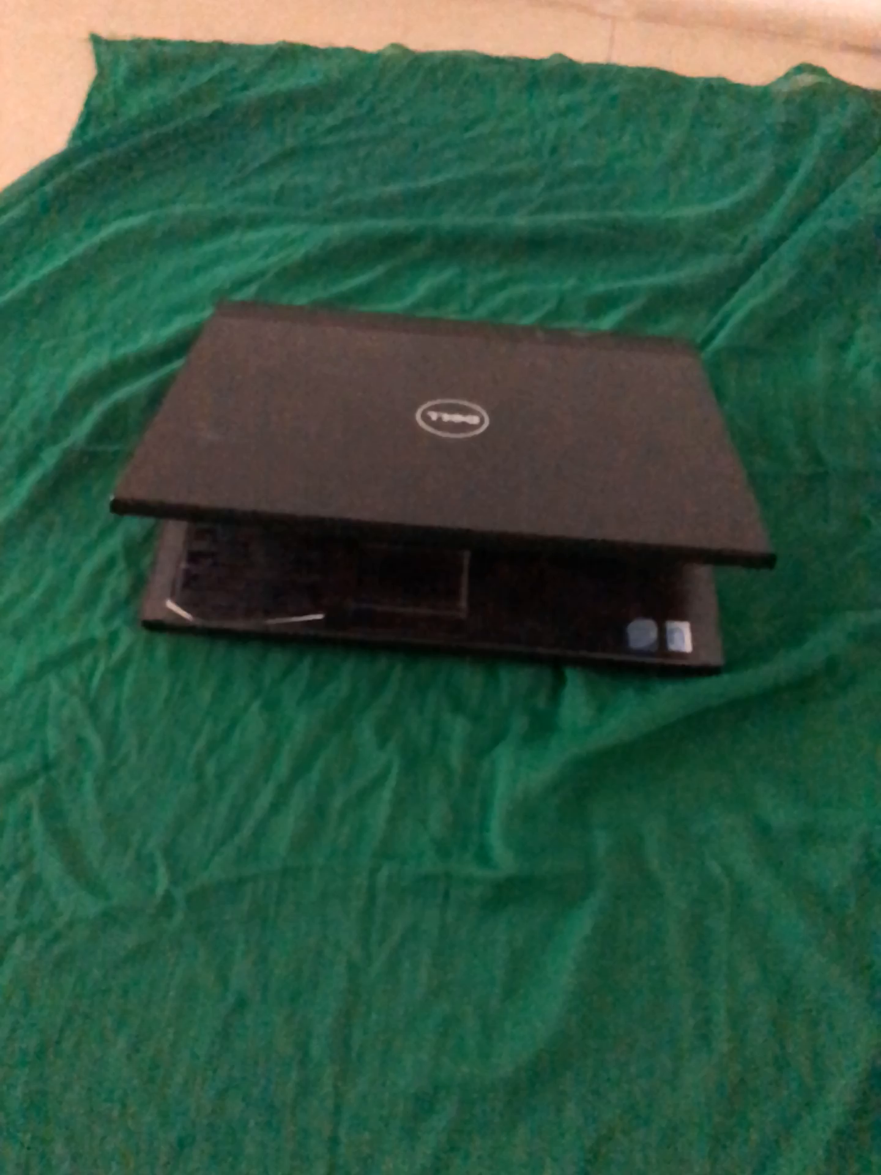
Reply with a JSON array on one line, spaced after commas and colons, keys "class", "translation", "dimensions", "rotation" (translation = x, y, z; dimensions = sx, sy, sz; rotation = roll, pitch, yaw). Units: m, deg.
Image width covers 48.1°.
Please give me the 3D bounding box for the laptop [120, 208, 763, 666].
[{"class": "laptop", "translation": [0.009, -0.089, 0.548], "dimensions": [0.306, 0.066, 0.227], "rotation": [5, 62, -1]}]
